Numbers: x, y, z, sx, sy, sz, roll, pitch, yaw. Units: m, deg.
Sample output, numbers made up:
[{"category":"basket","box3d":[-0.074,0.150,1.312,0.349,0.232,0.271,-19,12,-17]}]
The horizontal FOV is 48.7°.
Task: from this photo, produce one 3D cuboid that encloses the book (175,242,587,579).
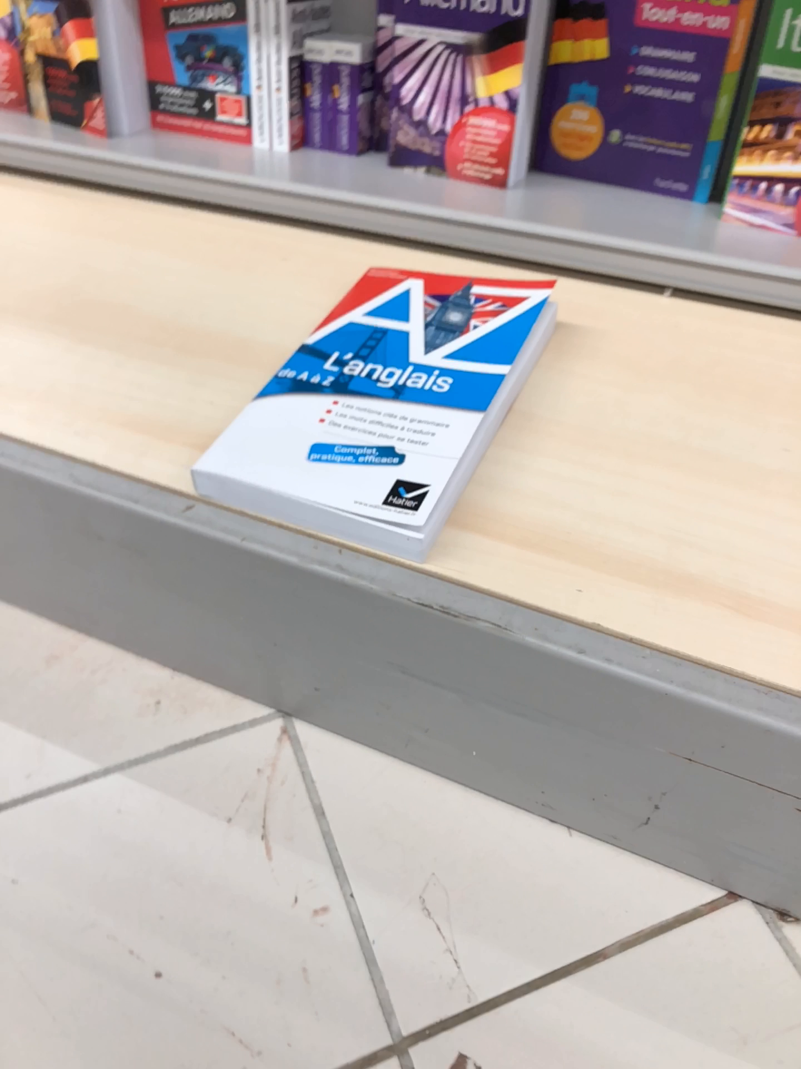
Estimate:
[{"category":"book","box3d":[0.002,-0.086,0.500,0.143,0.030,0.236,17,48,17]}]
